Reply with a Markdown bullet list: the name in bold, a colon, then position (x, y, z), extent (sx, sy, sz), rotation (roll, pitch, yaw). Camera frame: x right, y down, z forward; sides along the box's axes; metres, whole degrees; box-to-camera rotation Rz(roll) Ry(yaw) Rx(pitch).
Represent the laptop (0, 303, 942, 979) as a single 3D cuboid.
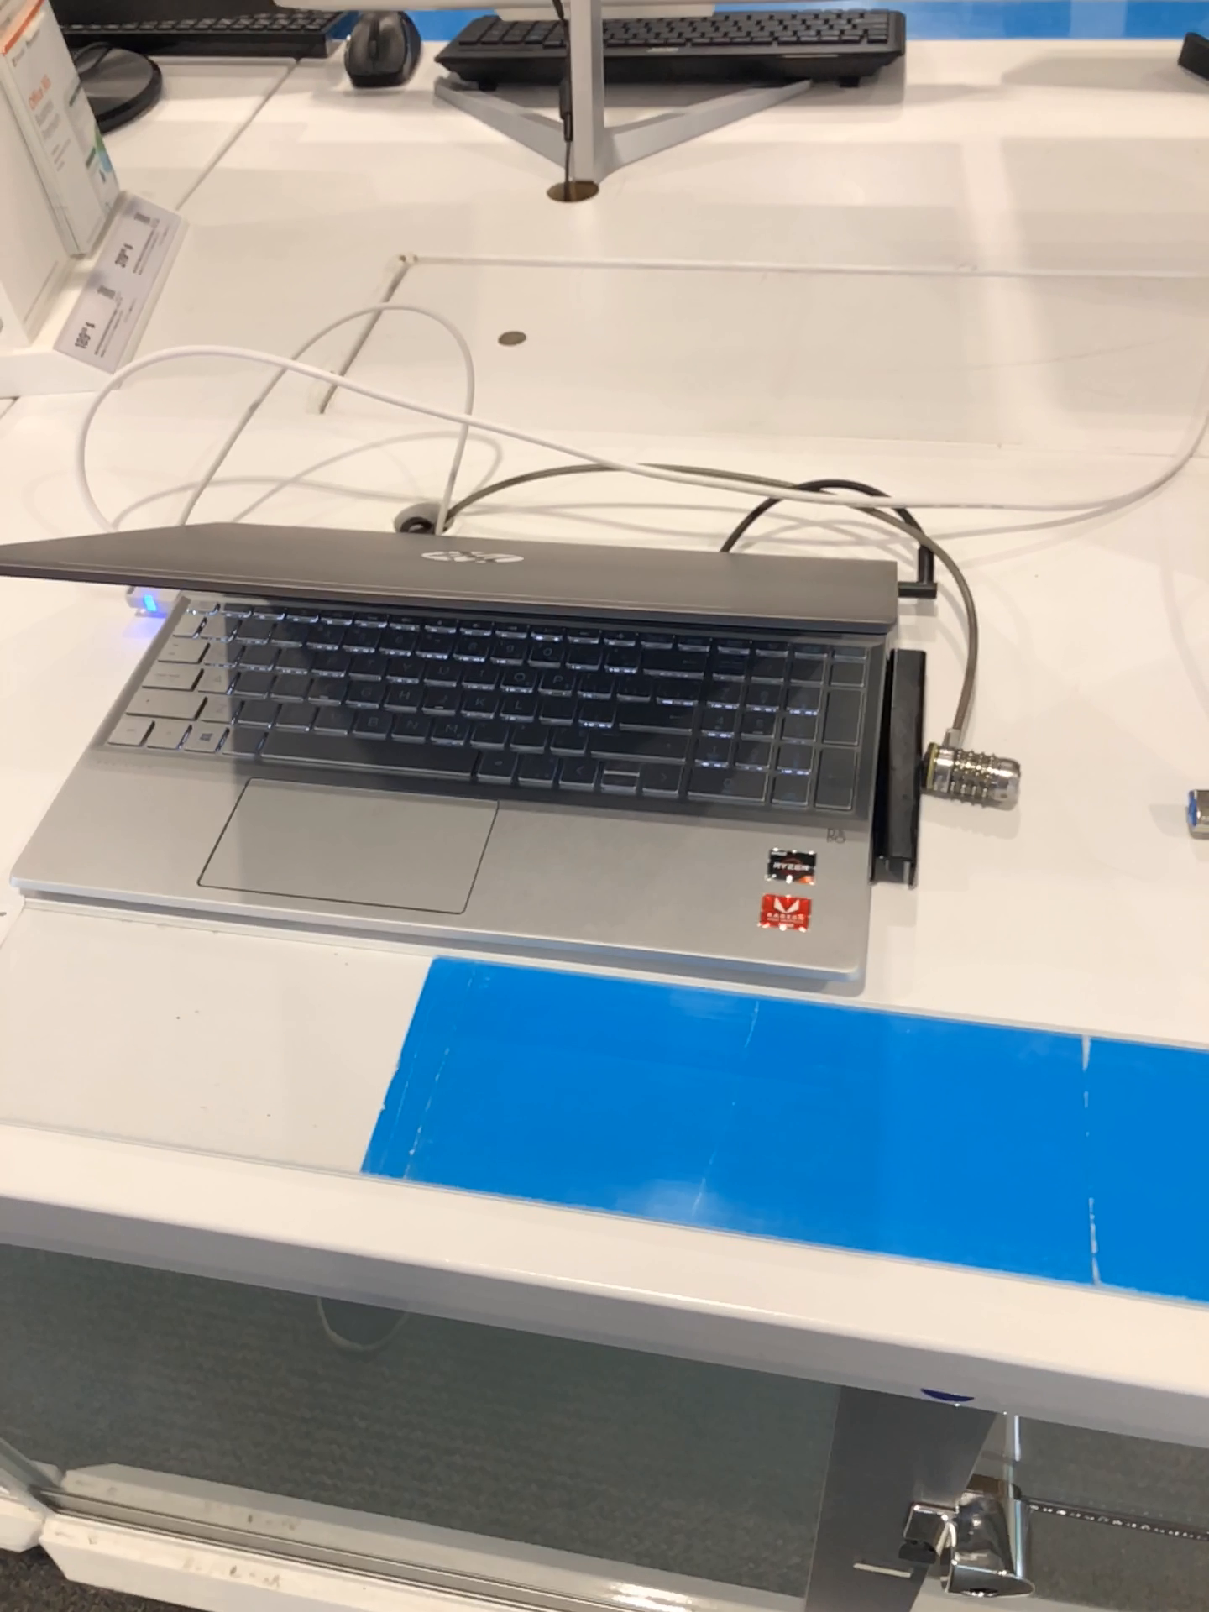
- **laptop**: position (-0.052, -0.083, 0.550), extent (0.350, 0.134, 0.232), rotation (6, 49, 11)
